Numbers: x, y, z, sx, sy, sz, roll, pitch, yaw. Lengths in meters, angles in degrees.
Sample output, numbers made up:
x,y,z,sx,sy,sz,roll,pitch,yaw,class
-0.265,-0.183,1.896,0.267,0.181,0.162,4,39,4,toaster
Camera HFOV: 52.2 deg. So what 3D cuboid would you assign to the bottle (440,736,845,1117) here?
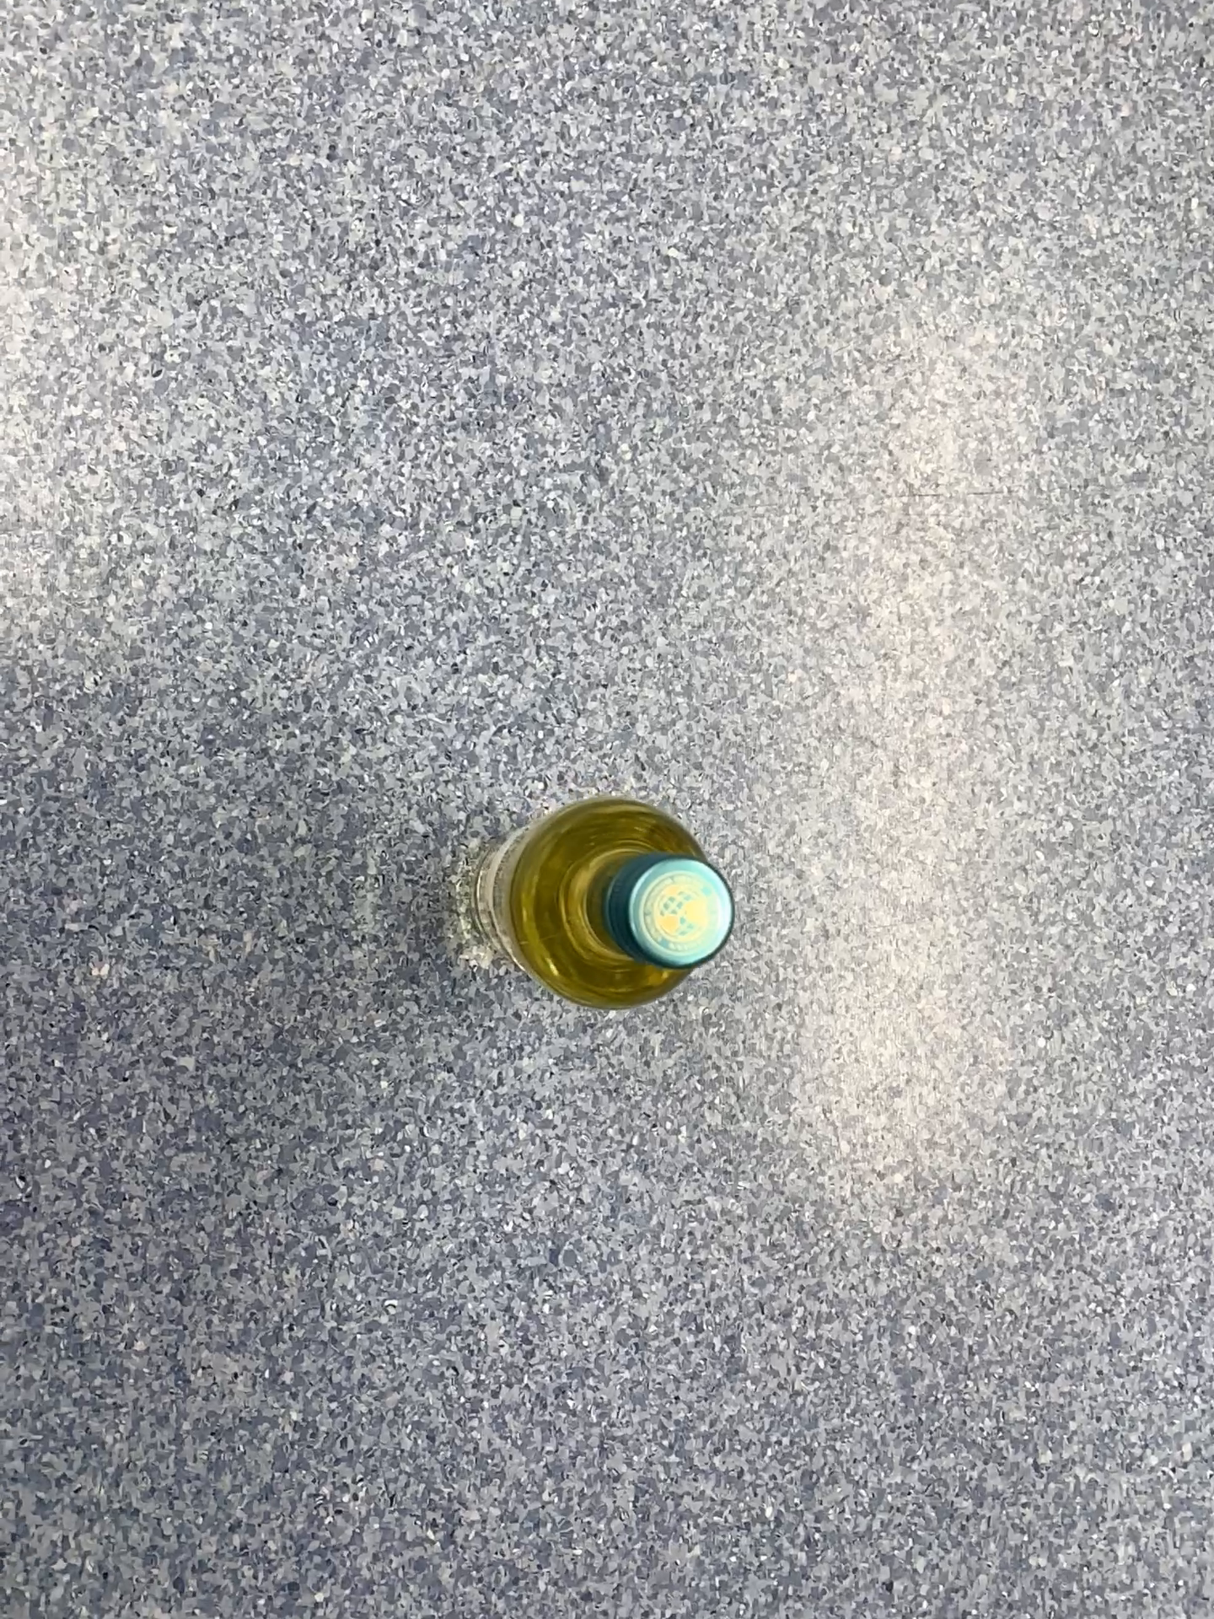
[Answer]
x,y,z,sx,sy,sz,roll,pitch,yaw,class
-0.010,0.037,0.464,0.065,0.308,0.071,1,87,-9,bottle
